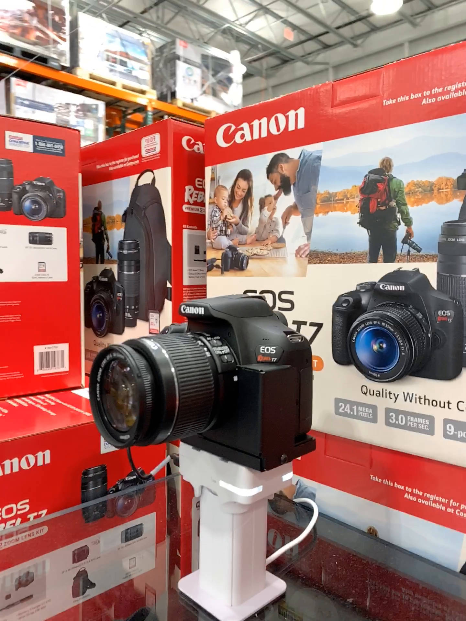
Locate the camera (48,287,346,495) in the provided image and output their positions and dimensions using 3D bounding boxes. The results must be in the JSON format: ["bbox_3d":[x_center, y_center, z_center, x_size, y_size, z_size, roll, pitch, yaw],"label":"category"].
[{"bbox_3d":[-0.025,0.036,0.347,0.160,0.100,0.140,-4,6,-43],"label":"camera"}]
